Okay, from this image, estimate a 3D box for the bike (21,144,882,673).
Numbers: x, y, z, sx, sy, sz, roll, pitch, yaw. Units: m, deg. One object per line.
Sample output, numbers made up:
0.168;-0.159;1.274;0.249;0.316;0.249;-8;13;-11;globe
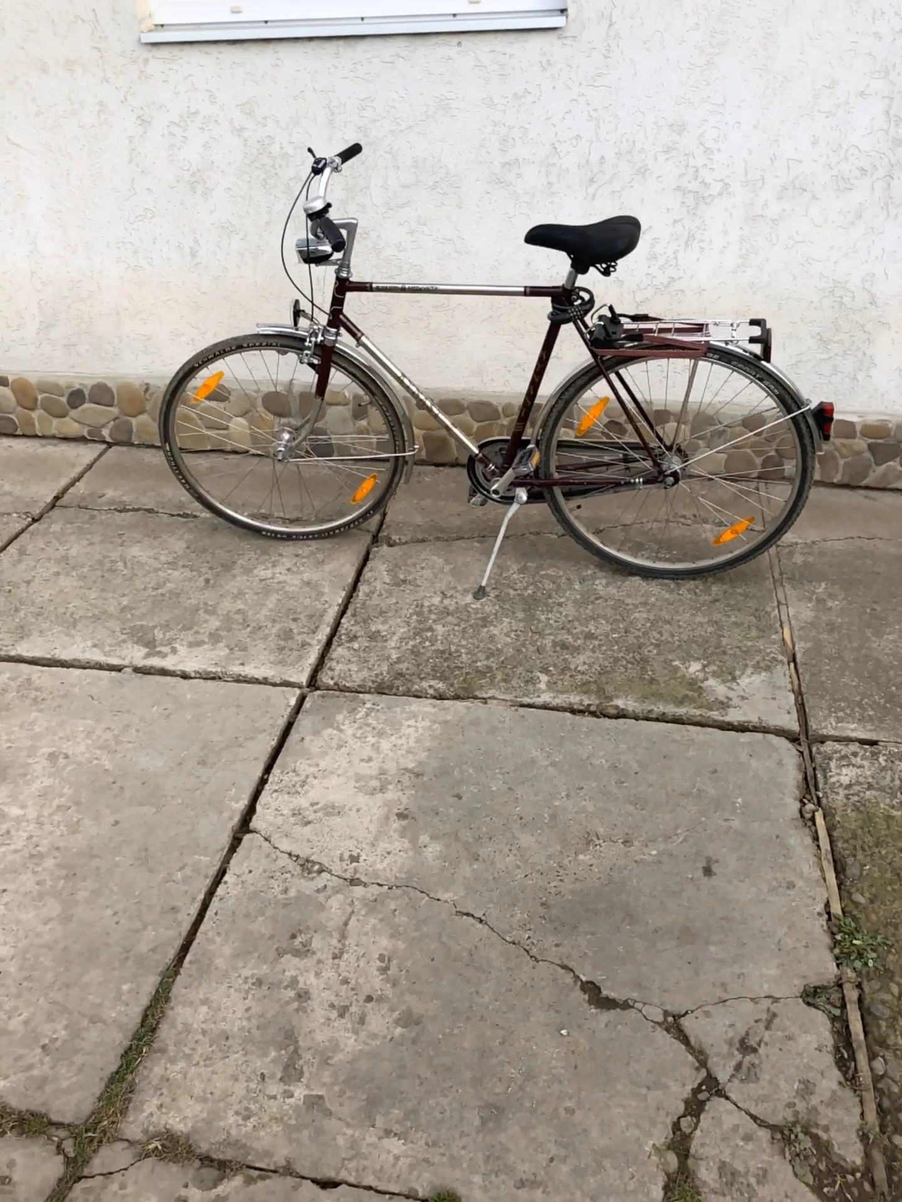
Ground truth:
0.023;-0.502;2.445;1.709;1.054;0.601;5;32;11;bike
